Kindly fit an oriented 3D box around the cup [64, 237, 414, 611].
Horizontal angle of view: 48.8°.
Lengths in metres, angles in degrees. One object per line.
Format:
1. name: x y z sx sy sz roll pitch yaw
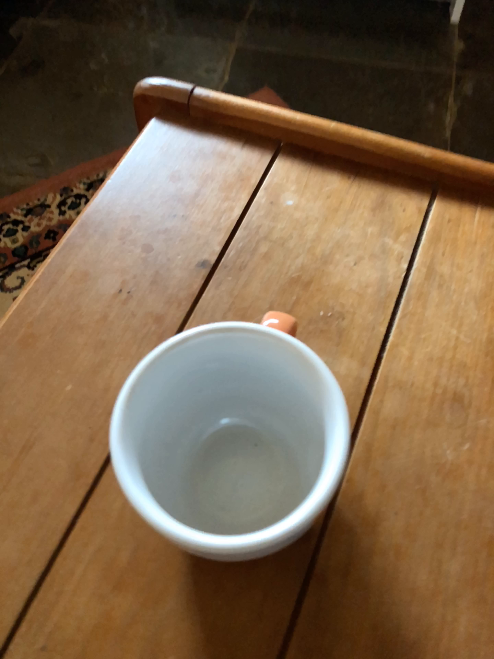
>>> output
1. cup: 0.003 0.035 0.217 0.090 0.060 0.110 17 61 11
